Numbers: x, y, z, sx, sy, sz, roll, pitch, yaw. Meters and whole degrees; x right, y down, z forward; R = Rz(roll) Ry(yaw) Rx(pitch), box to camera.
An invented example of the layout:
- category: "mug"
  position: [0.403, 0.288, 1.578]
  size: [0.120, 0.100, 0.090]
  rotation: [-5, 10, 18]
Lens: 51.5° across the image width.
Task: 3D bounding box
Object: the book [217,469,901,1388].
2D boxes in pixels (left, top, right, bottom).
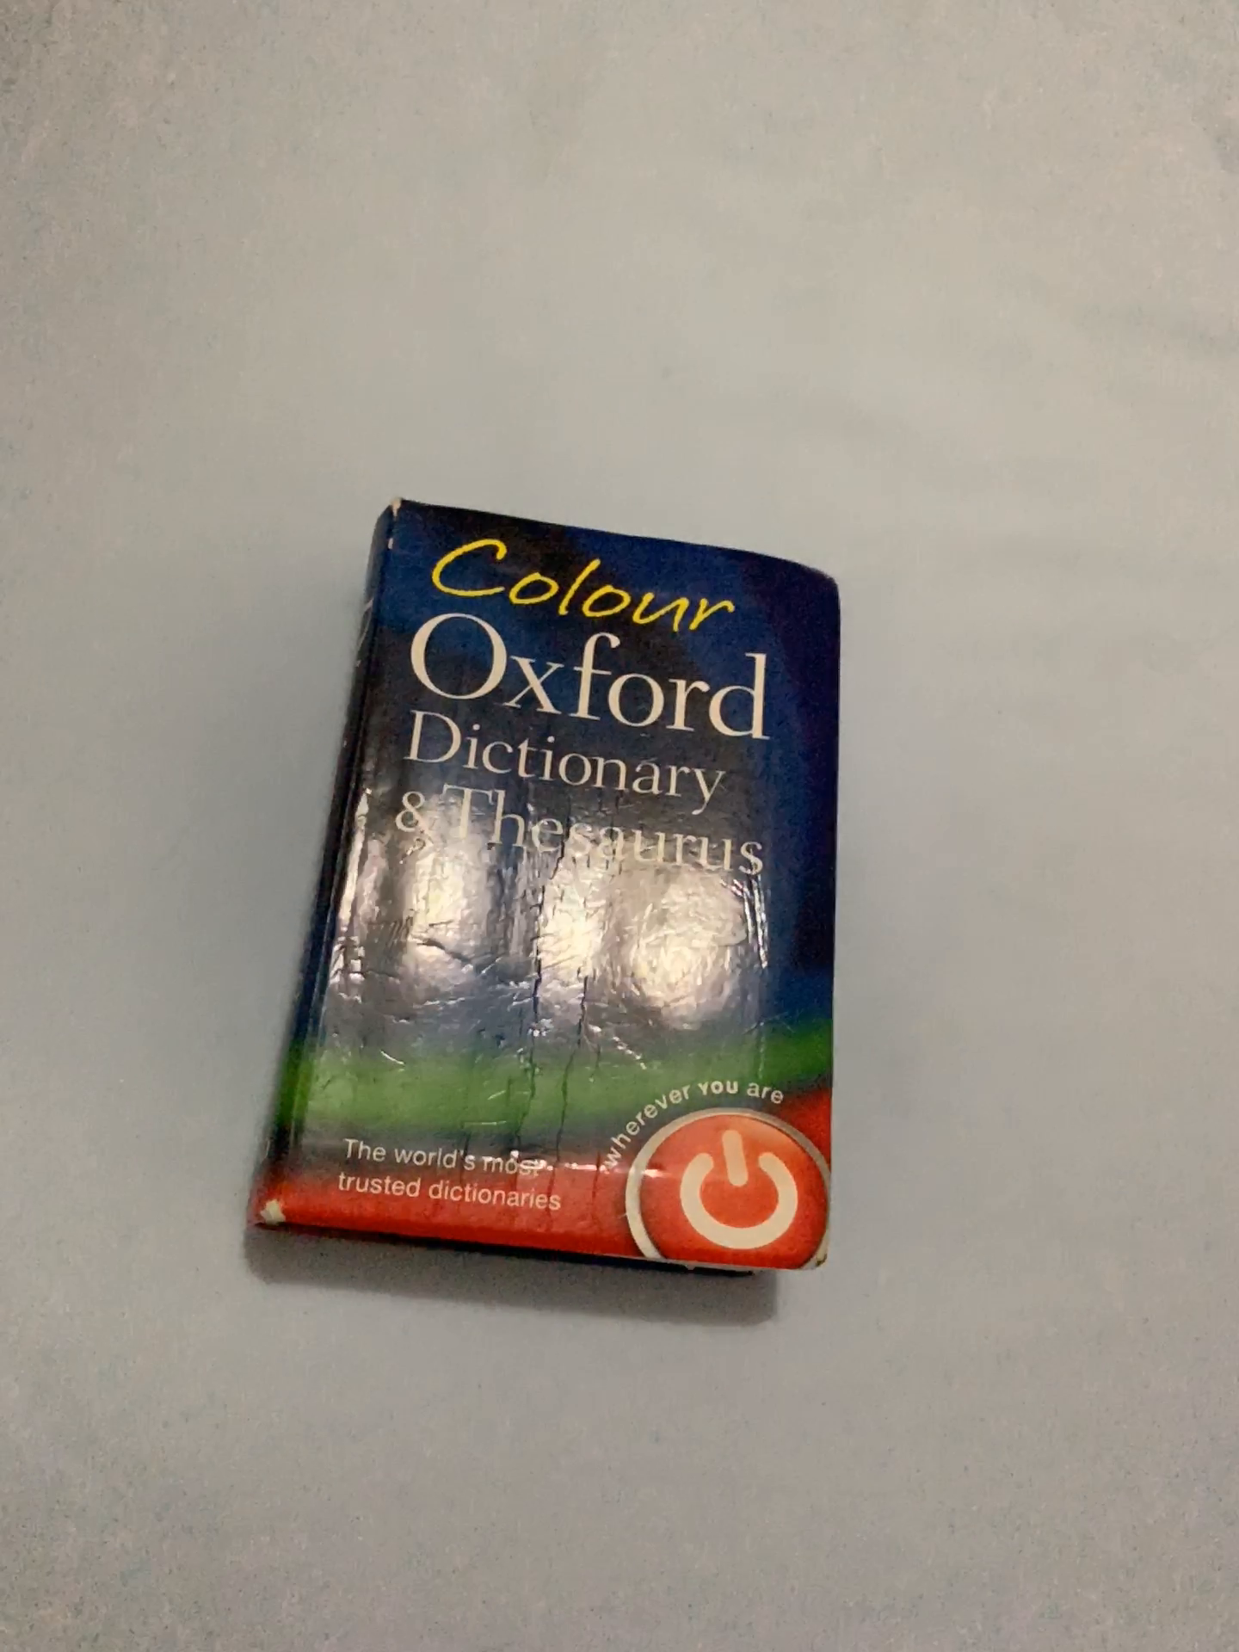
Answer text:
- category: "book"
  position: [-0.005, 0.017, 0.280]
  size: [0.120, 0.040, 0.181]
  rotation: [6, 71, -2]
